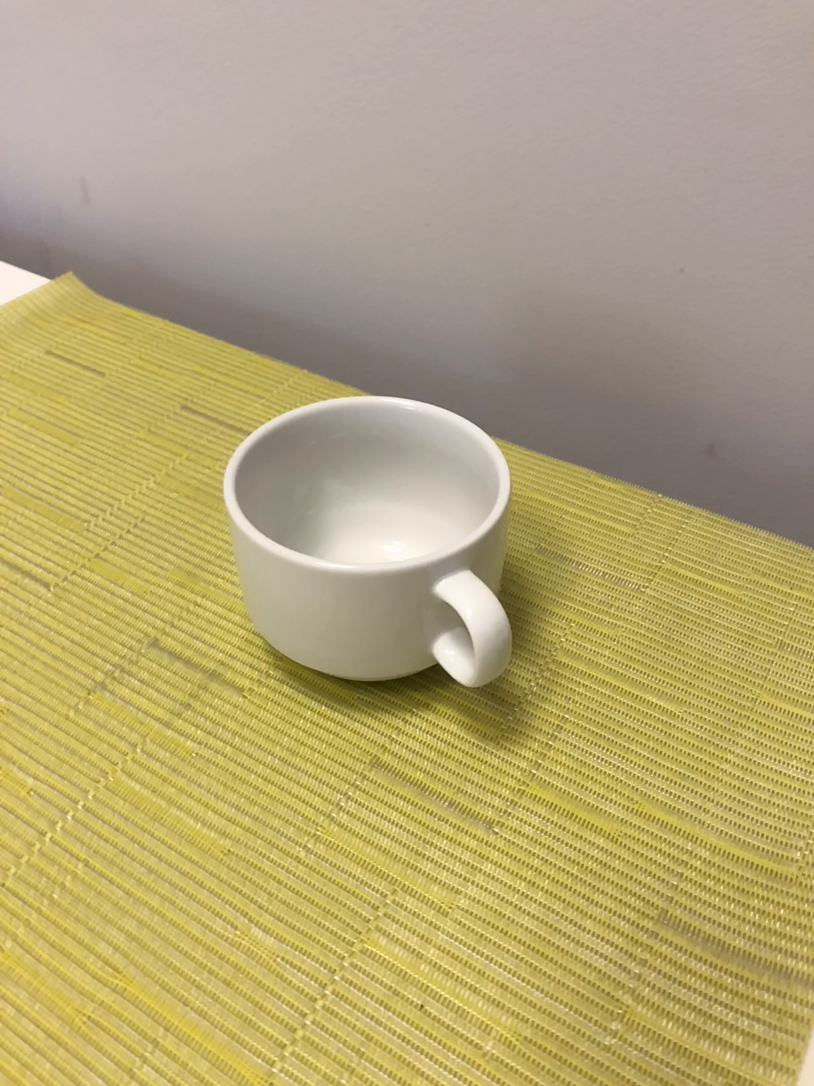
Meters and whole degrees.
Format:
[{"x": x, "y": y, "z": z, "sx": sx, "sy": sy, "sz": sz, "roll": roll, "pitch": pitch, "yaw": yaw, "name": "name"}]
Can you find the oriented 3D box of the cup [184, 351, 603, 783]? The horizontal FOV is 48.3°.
[{"x": -0.010, "y": 0.000, "z": 0.279, "sx": 0.086, "sy": 0.057, "sz": 0.111, "roll": -14, "pitch": 43, "yaw": -17, "name": "cup"}]
